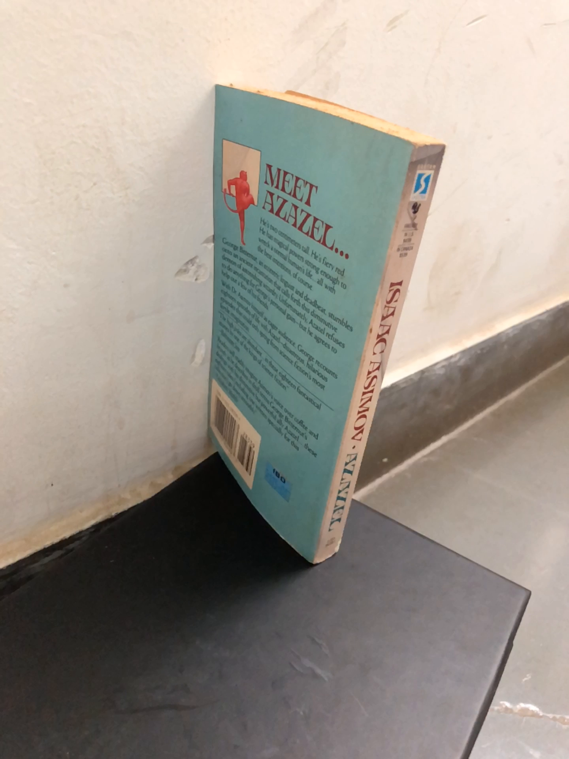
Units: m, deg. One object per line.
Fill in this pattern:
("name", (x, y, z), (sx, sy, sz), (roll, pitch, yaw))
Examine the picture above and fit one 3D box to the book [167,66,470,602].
("book", (-0.007, -0.024, 0.283), (0.030, 0.189, 0.150), (-15, 37, -31))
